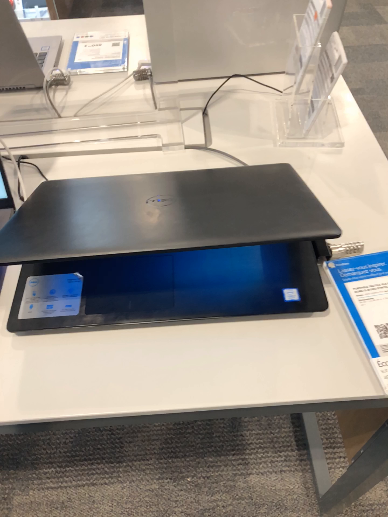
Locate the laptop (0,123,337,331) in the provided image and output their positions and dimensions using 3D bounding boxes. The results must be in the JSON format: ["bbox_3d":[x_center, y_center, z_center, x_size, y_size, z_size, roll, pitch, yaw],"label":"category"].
[{"bbox_3d":[-0.041,-0.052,0.535,0.365,0.080,0.246,-4,51,-1],"label":"laptop"}]
